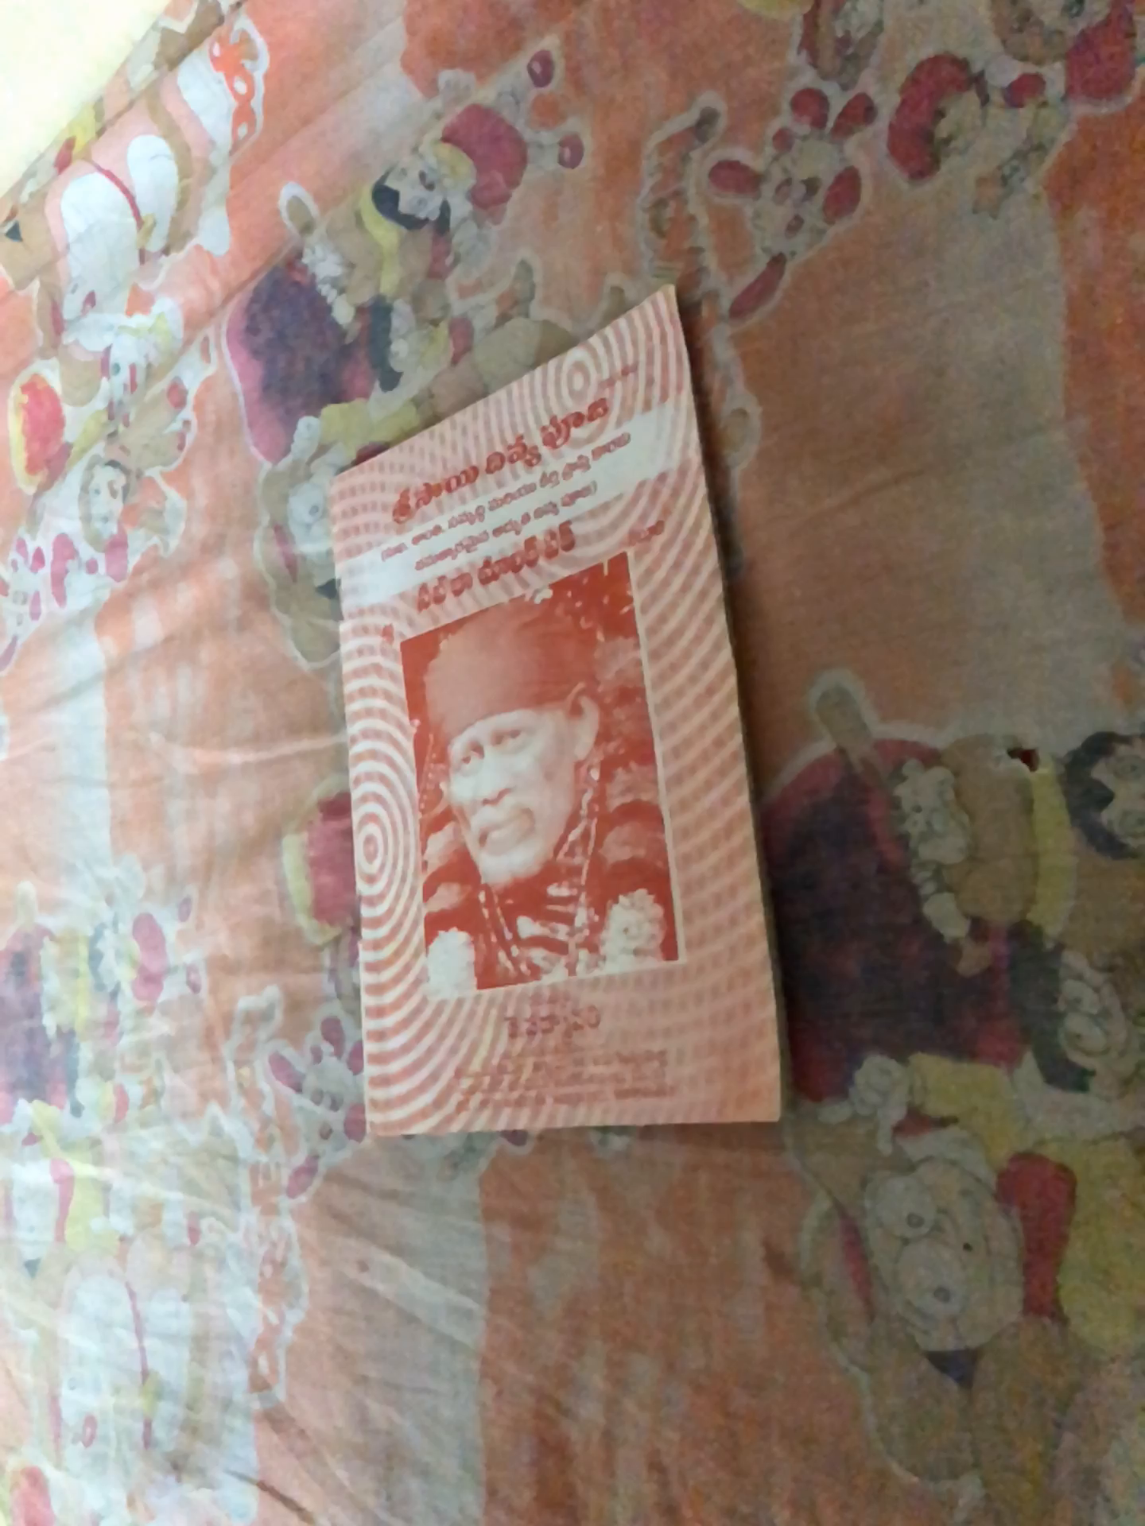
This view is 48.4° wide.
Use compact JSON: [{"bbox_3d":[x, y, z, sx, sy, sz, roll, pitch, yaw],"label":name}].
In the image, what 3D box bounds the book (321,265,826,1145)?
[{"bbox_3d":[-0.010,-0.006,0.285,0.121,0.010,0.173,-15,74,38],"label":"book"}]
